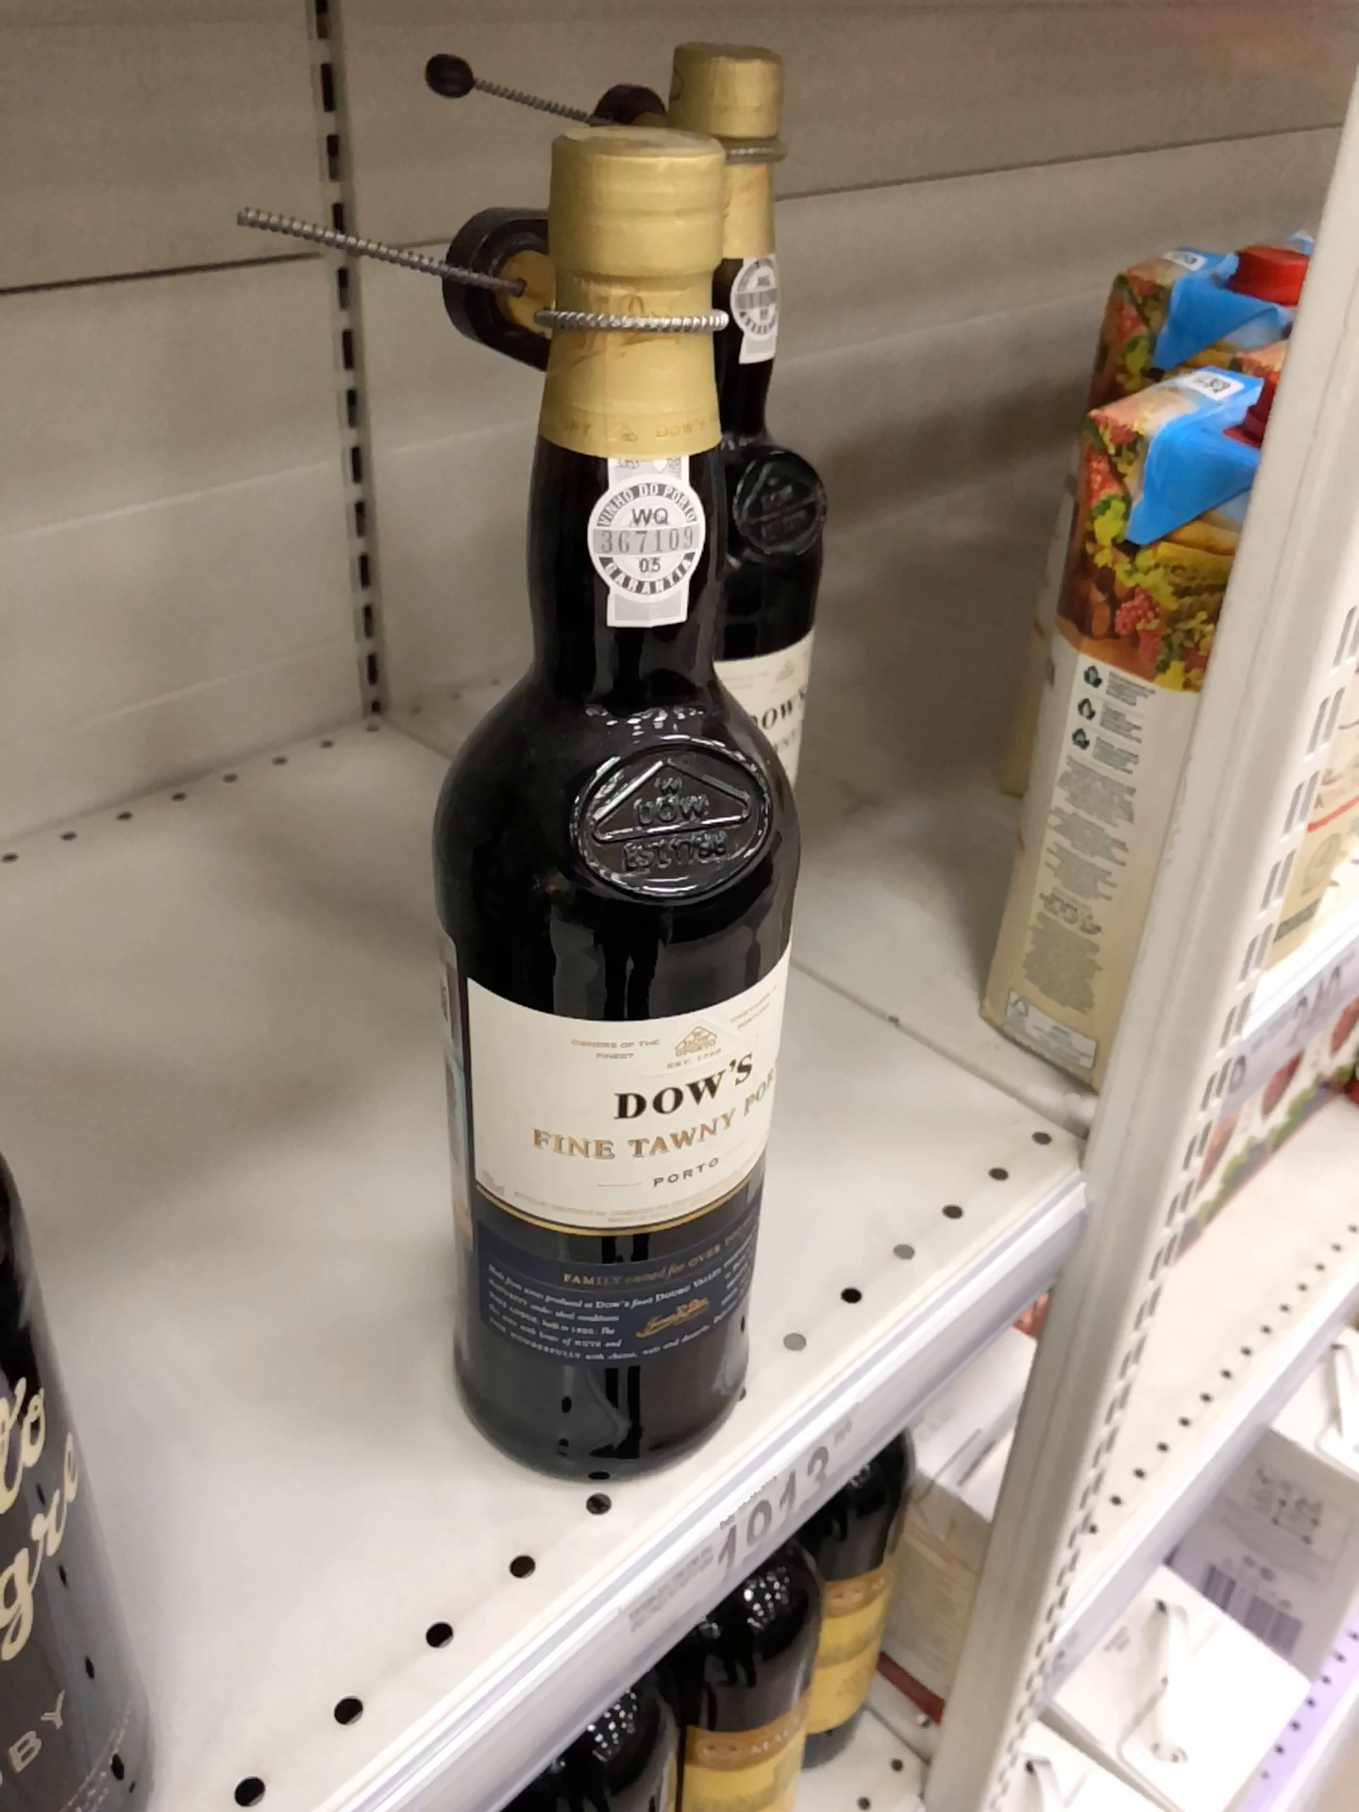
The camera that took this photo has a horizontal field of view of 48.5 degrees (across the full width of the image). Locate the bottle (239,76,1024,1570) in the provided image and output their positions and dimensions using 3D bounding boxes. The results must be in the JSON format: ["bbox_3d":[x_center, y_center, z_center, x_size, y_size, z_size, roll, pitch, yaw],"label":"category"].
[{"bbox_3d":[-0.014,-0.005,0.324,0.090,0.296,0.090,2,33,-1],"label":"bottle"}]
